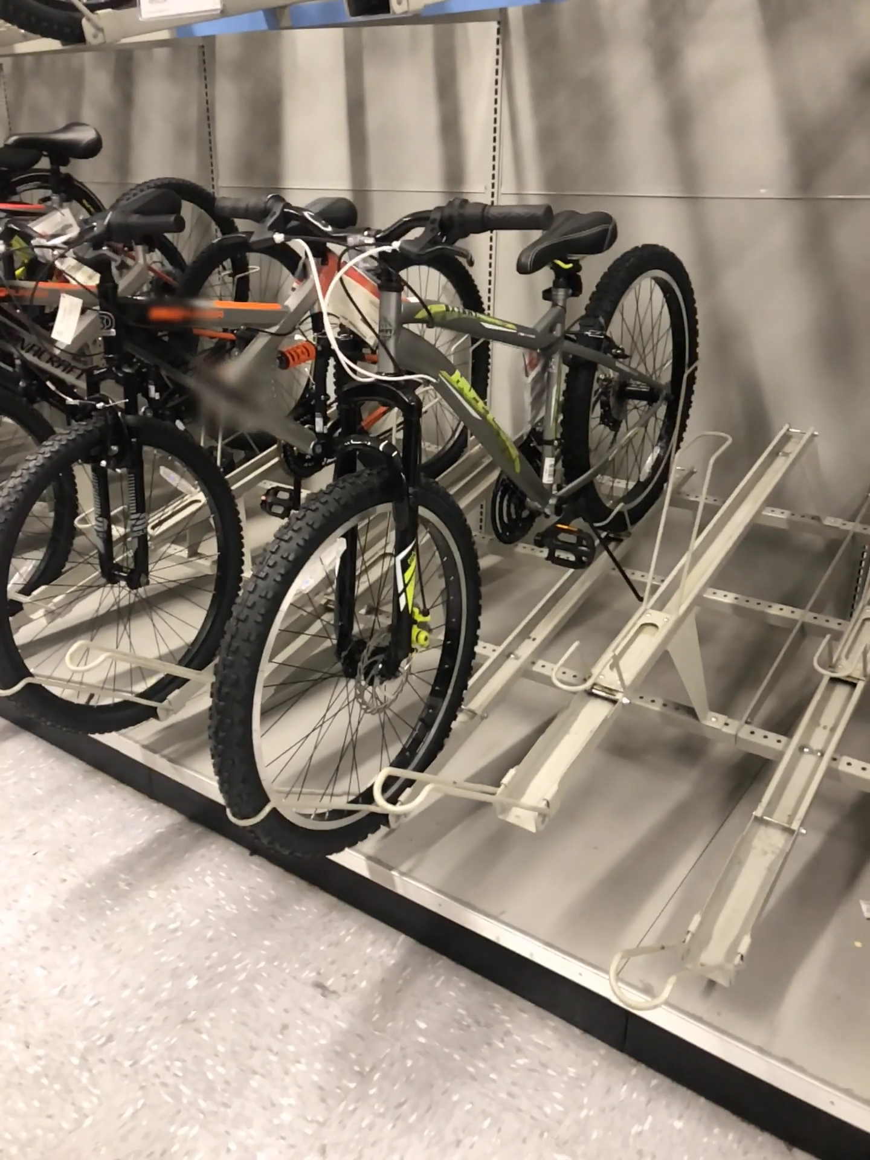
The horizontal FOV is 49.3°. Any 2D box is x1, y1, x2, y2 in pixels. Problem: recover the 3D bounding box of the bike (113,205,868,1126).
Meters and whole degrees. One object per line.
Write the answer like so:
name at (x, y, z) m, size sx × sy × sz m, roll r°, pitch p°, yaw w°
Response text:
bike at (0.247, -0.115, 1.903) m, size 0.608 × 0.729 × 1.722 m, roll 16°, pitch 38°, yaw 33°
